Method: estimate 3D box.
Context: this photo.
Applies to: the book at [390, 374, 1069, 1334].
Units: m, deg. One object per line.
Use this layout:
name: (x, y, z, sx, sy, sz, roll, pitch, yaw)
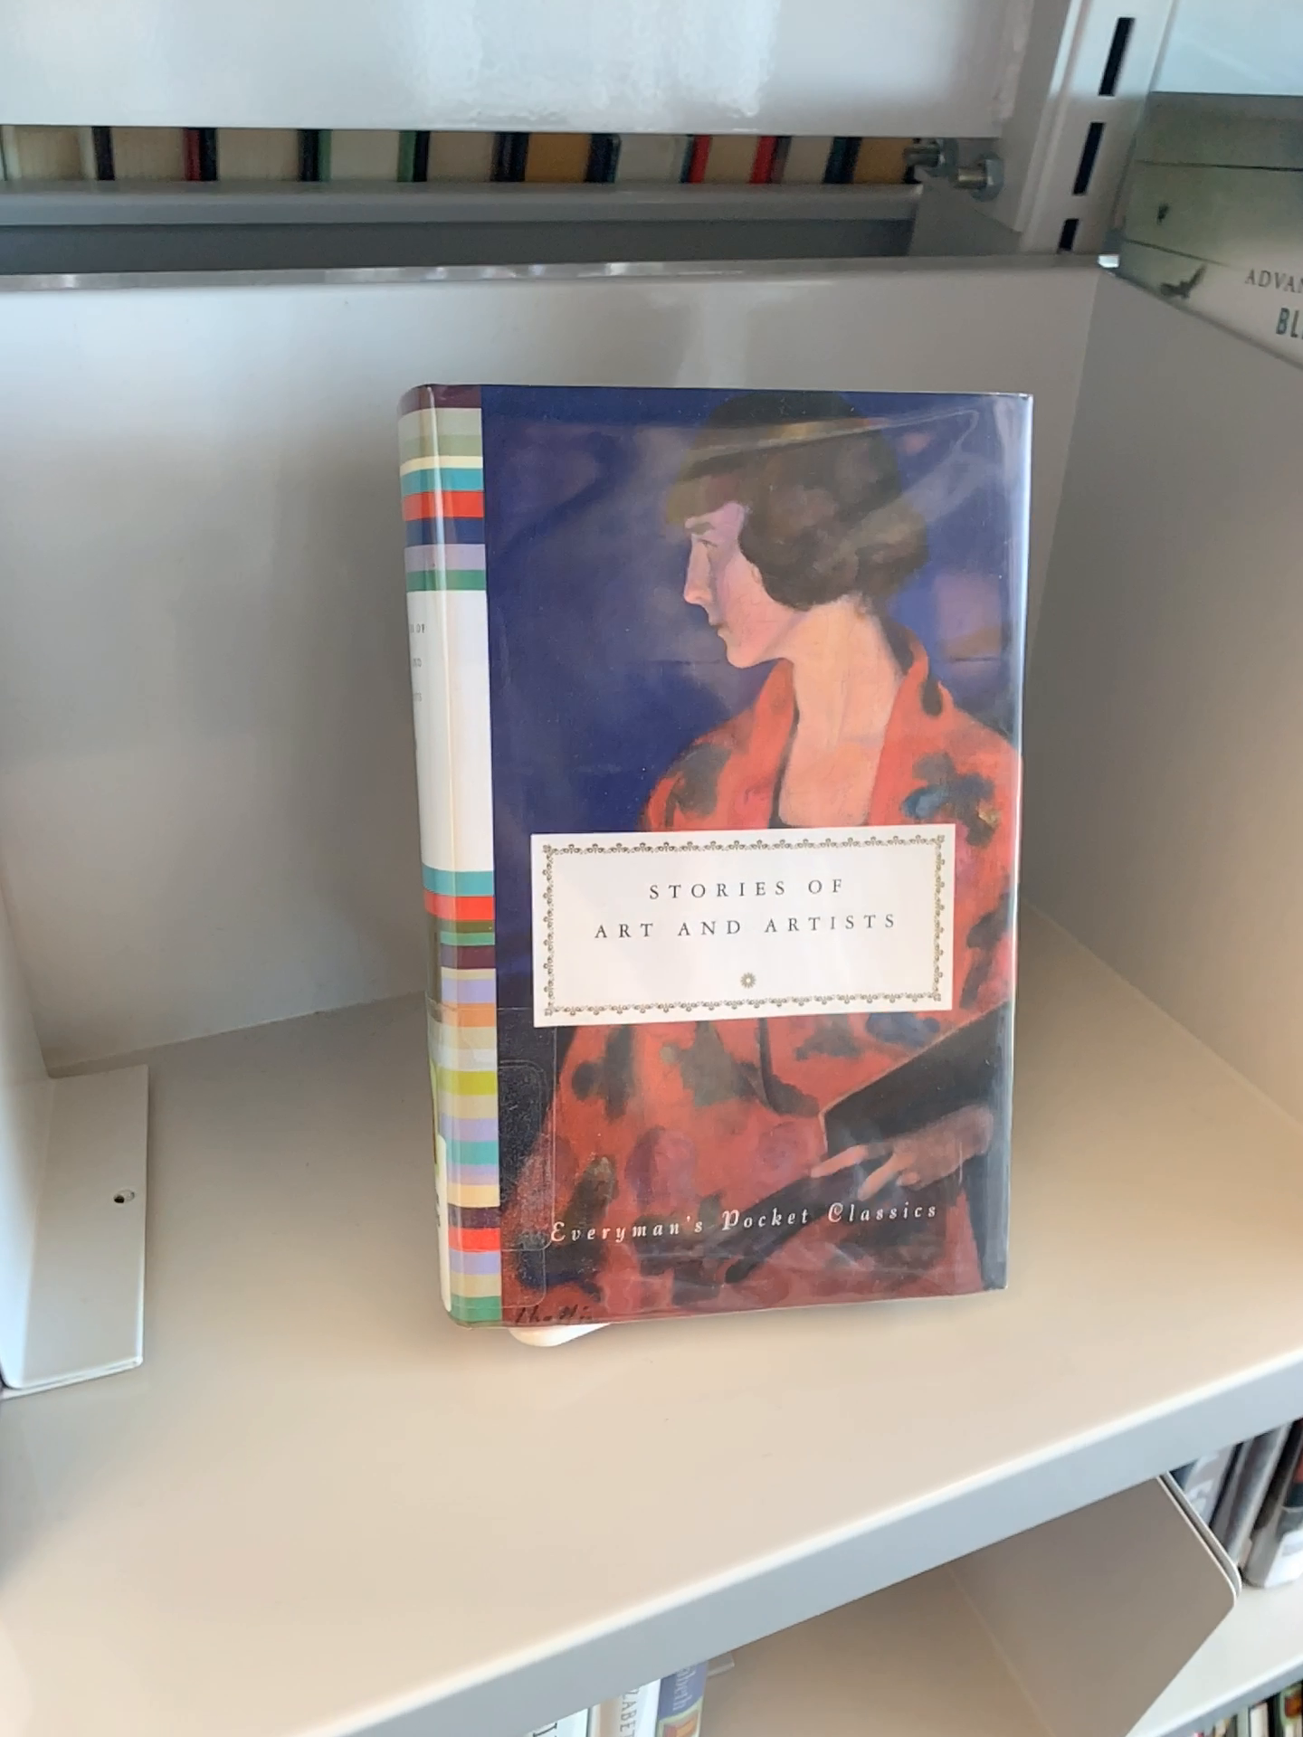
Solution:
book: (0.014, -0.002, 0.287, 0.129, 0.187, 0.040, -1, 10, -7)
